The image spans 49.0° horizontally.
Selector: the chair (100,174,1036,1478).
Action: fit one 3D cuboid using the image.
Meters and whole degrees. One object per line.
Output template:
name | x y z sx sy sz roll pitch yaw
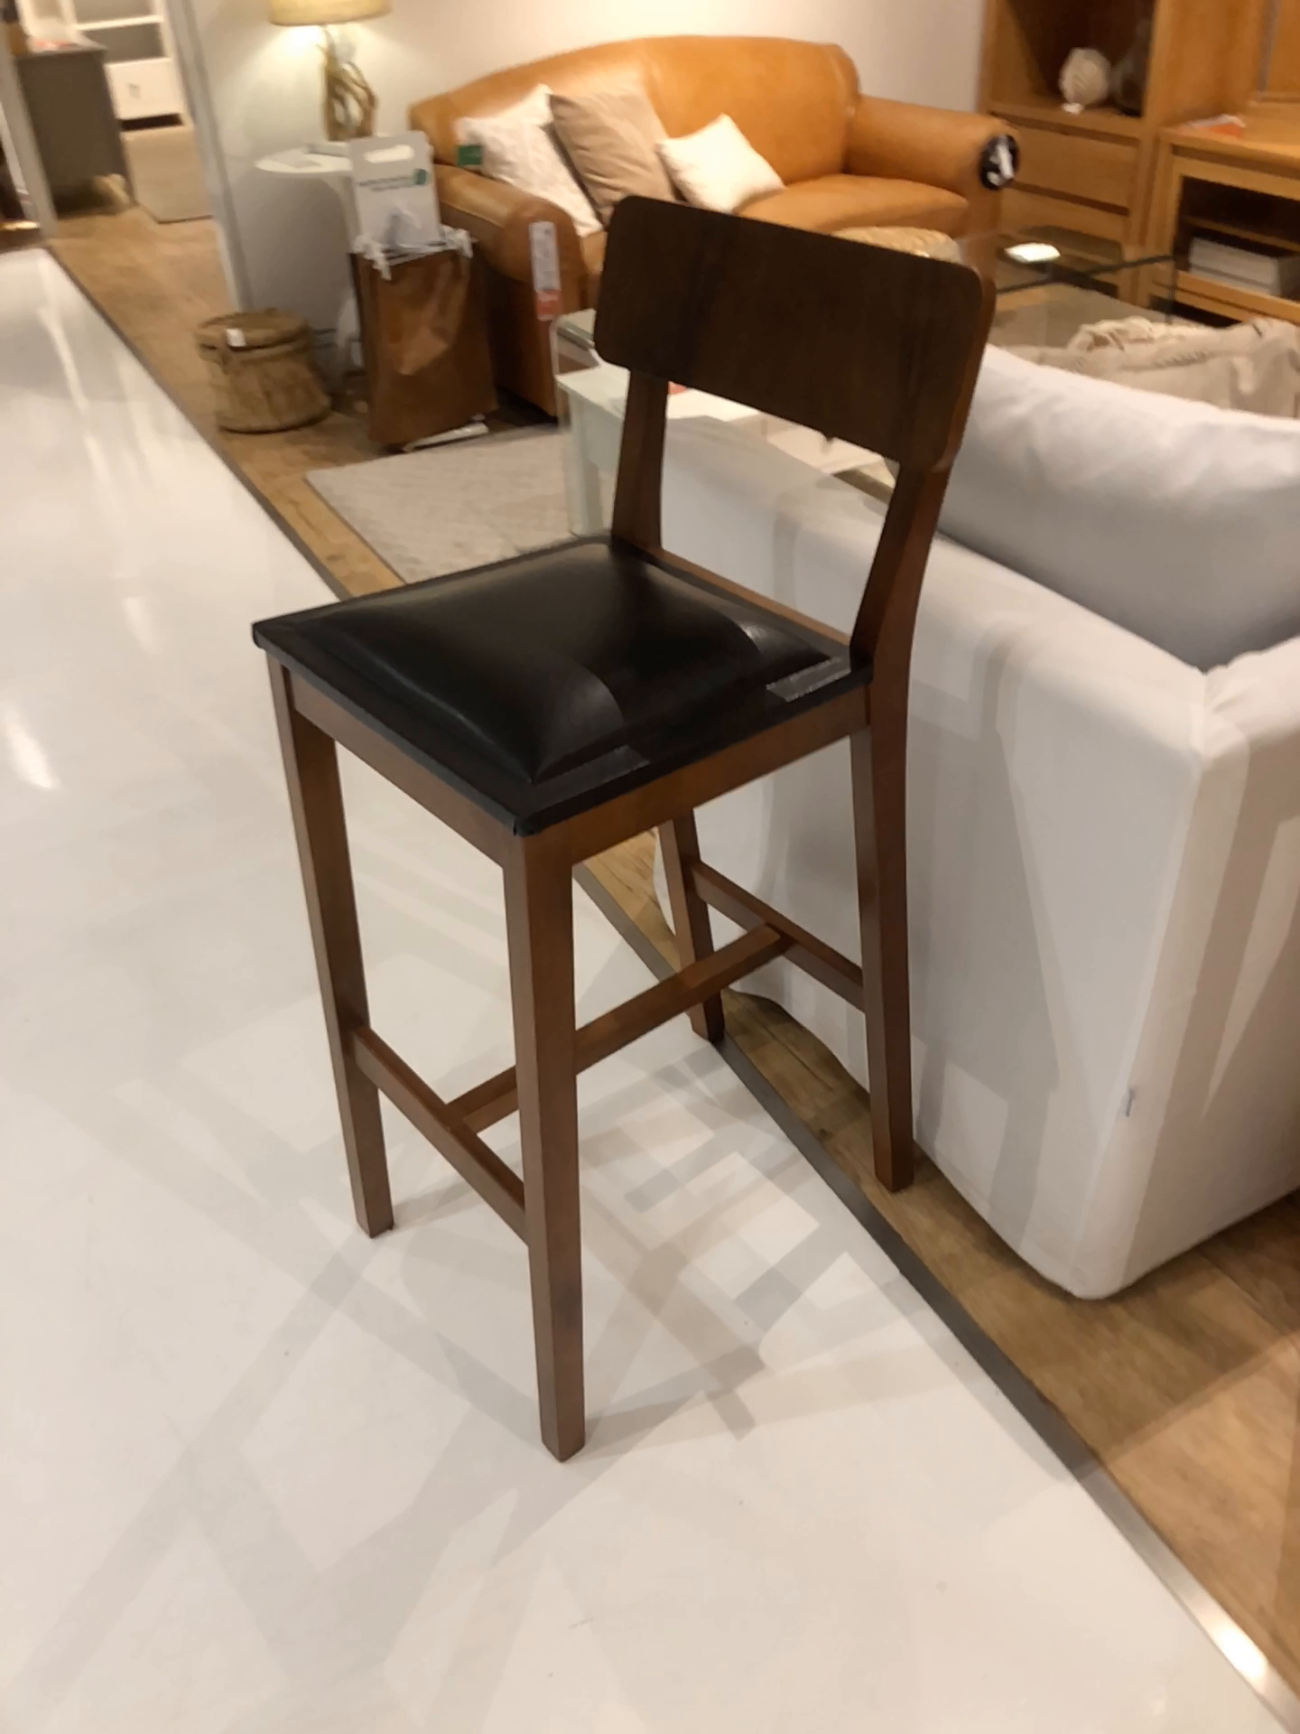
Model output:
chair | -0.037 -0.031 1.336 0.532 1.002 0.442 -27 42 -29
